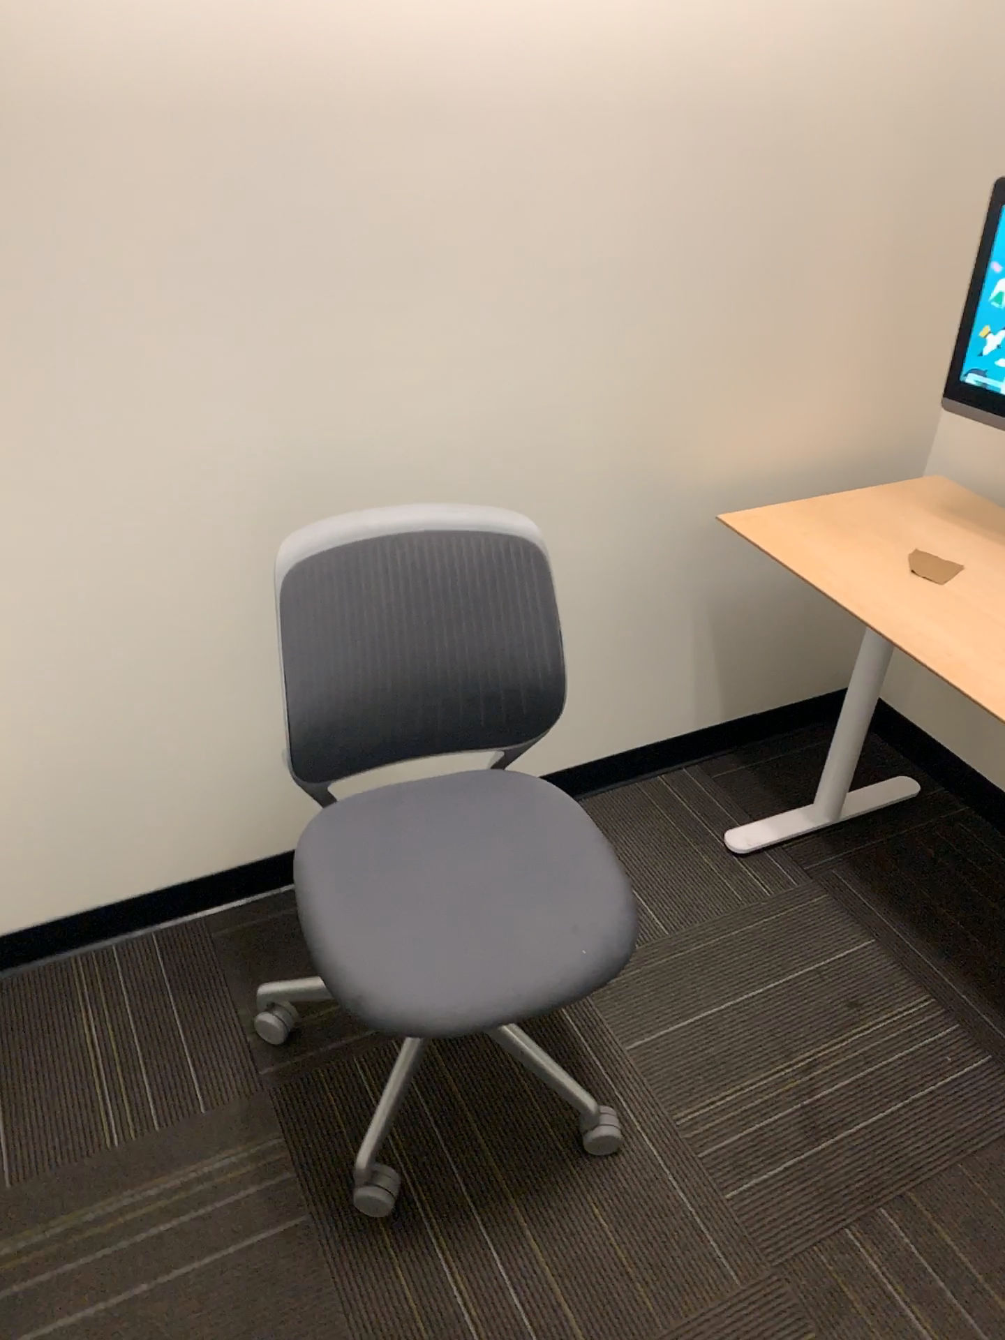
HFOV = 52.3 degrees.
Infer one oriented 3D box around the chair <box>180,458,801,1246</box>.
[{"bbox_3d":[-0.119,0.242,1.810,0.720,0.885,0.906,-7,35,-16],"label":"chair"}]
